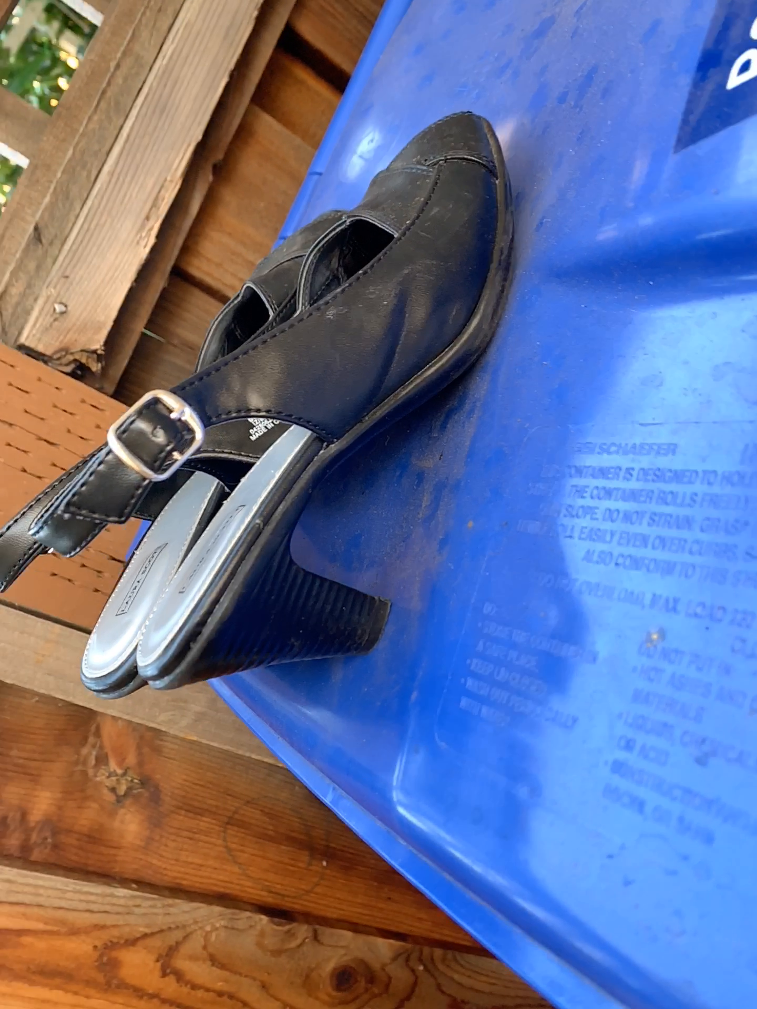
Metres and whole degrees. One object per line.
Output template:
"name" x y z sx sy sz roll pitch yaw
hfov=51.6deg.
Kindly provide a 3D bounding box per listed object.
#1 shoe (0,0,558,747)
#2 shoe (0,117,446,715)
"shoe" -0.030 -0.062 0.267 0.090 0.099 0.251 -15 53 55
"shoe" -0.058 -0.045 0.348 0.090 0.089 0.251 -15 45 40
